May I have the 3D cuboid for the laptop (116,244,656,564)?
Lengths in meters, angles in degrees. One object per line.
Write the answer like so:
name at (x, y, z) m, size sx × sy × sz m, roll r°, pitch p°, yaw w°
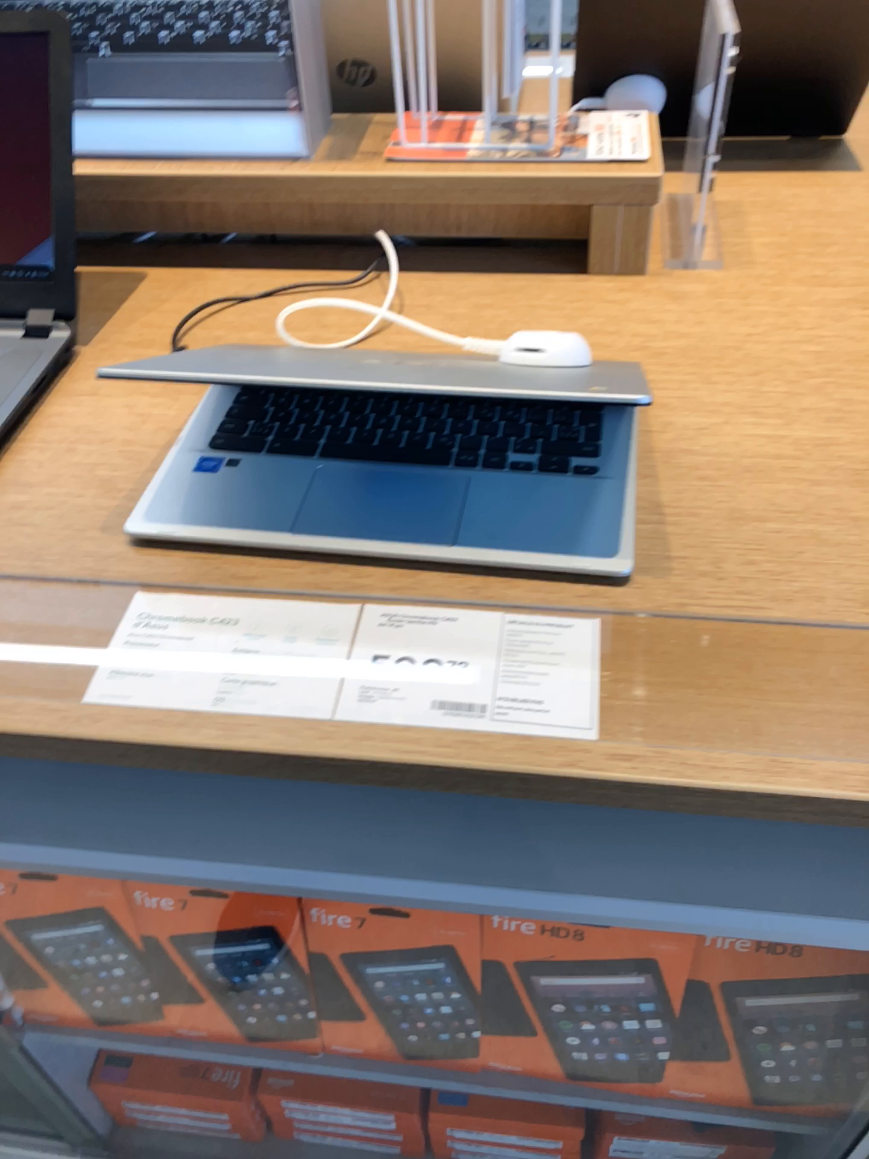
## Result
laptop at (-0.014, -0.126, 0.632) m, size 0.304 × 0.080 × 0.206 m, roll 6°, pitch 46°, yaw 7°
